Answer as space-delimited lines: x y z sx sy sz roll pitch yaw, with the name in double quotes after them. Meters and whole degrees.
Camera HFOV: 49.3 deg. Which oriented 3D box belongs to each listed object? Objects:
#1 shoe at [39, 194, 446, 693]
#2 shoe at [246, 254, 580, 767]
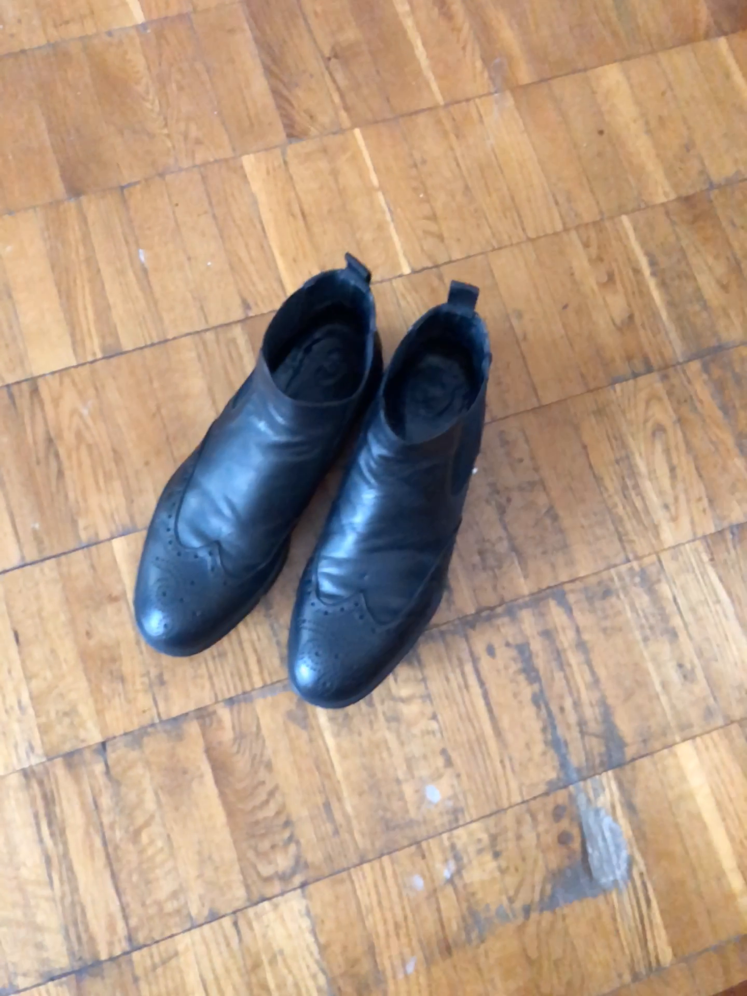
-0.078 -0.030 0.567 0.110 0.140 0.300 29 78 1 "shoe"
0.025 0.011 0.569 0.110 0.140 0.300 21 78 0 "shoe"
